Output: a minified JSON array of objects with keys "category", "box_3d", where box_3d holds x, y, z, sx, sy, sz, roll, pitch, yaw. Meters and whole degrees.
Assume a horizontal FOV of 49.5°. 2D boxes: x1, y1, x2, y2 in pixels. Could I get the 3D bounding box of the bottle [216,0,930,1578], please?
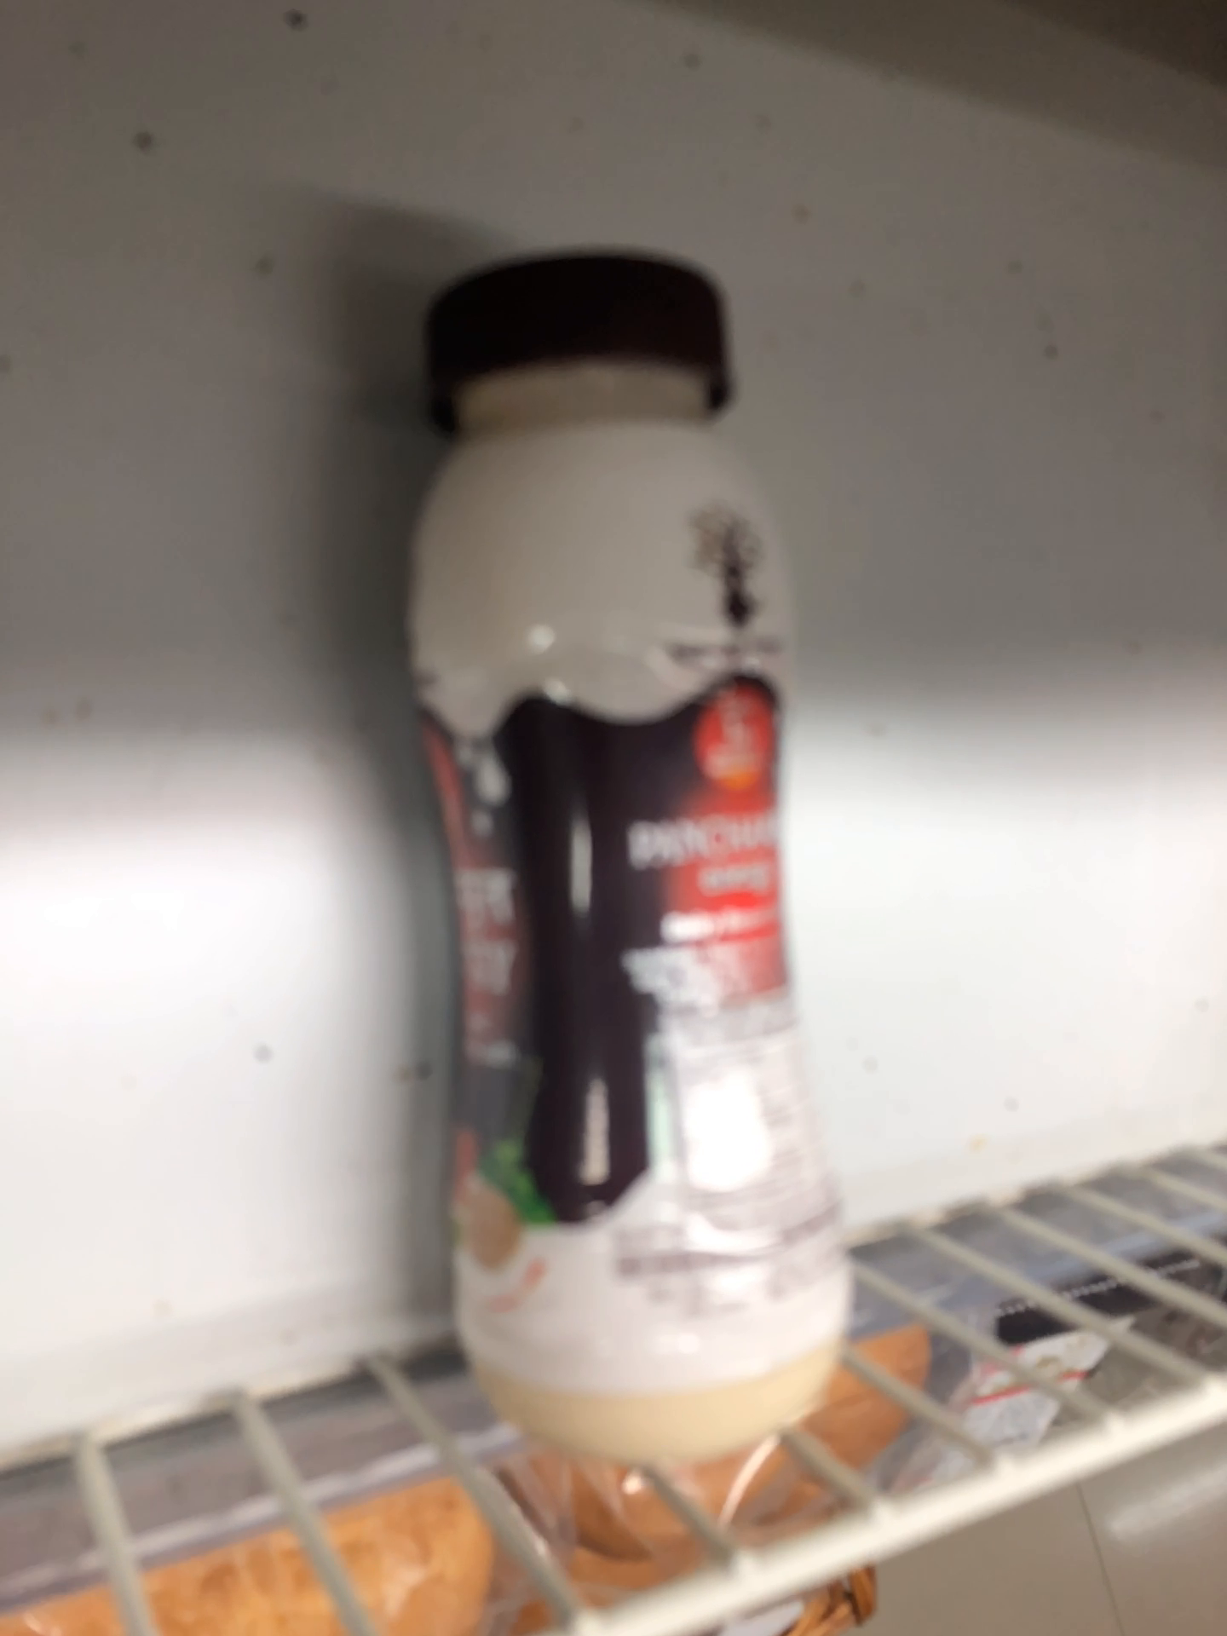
[{"category":"bottle","box_3d":[-0.006,-0.004,0.176,0.060,0.060,0.160,-6,93,-38]}]
